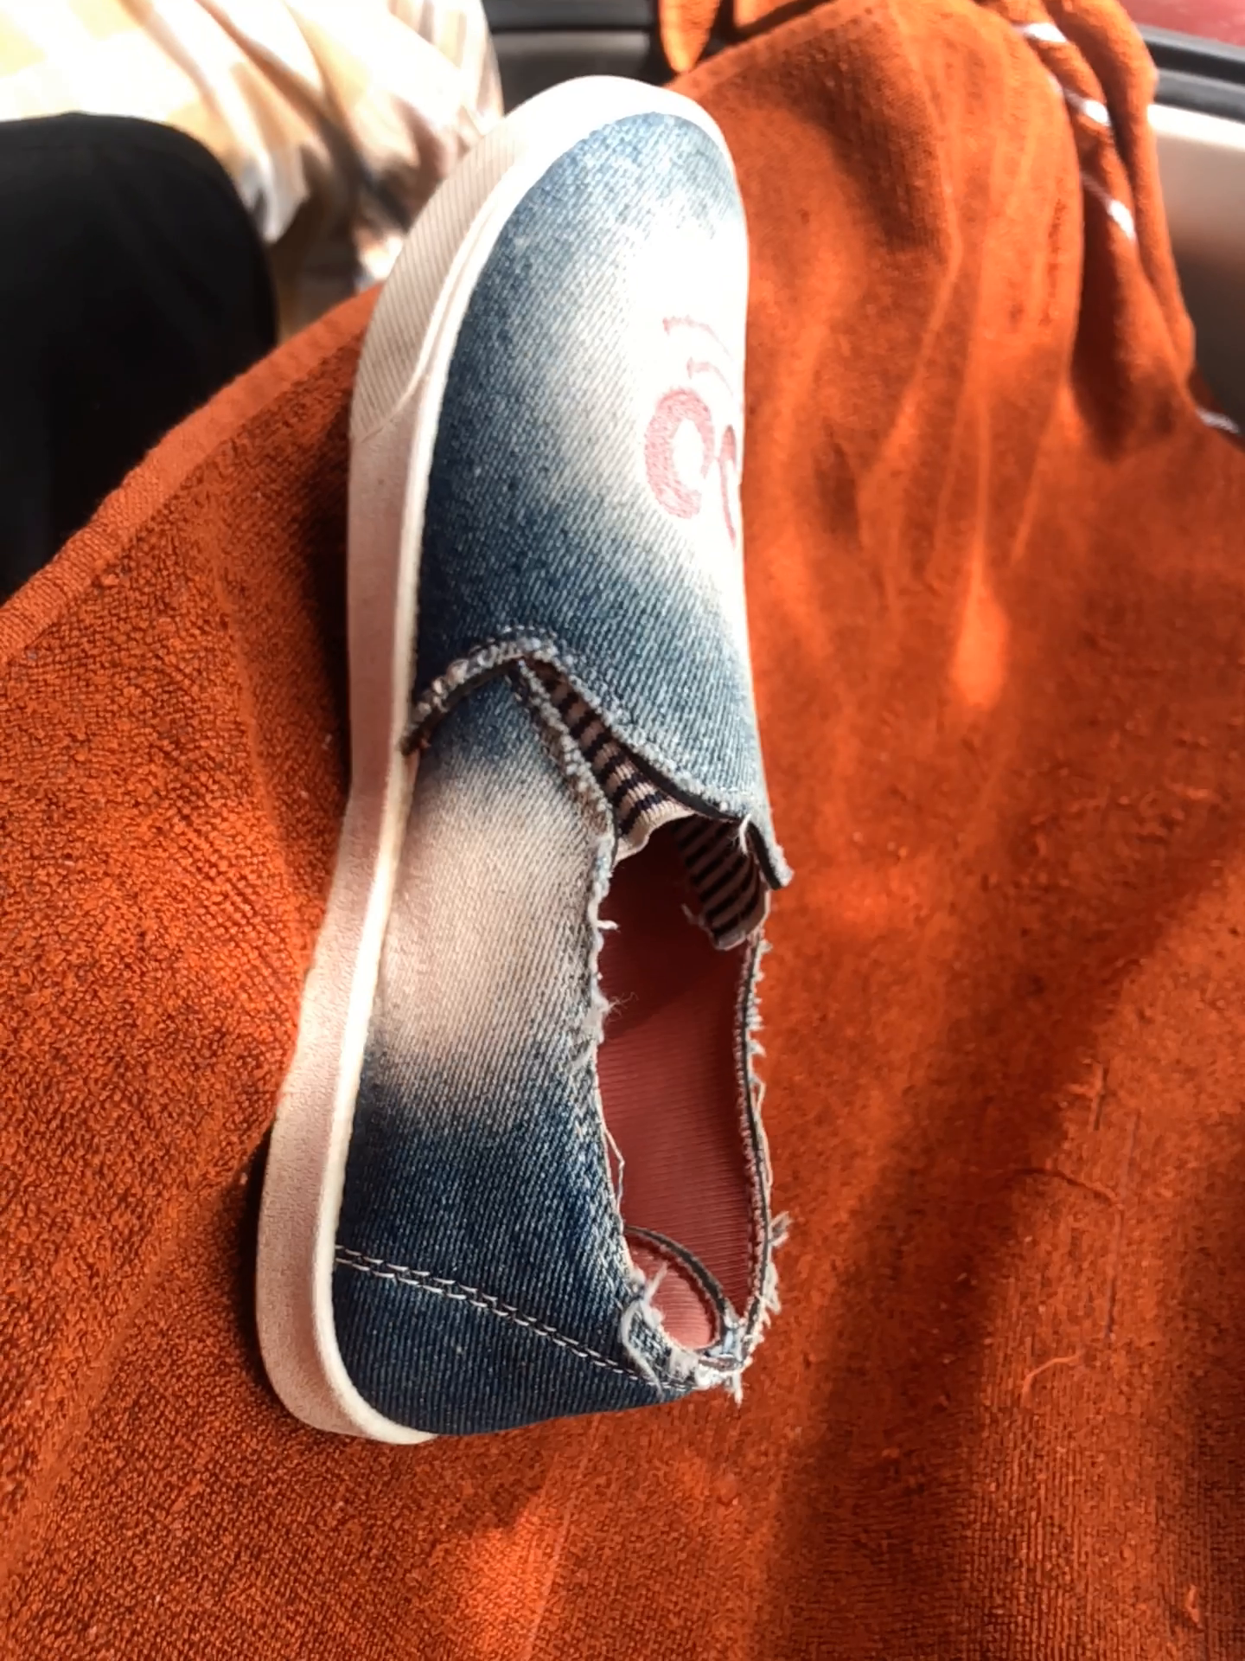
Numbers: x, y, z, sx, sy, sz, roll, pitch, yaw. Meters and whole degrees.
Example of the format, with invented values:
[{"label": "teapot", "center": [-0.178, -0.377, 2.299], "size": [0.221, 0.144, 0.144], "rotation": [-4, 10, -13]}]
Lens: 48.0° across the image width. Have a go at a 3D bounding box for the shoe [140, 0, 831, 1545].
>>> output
[{"label": "shoe", "center": [-0.015, -0.012, 0.267], "size": [0.091, 0.079, 0.240], "rotation": [22, 68, -60]}]
